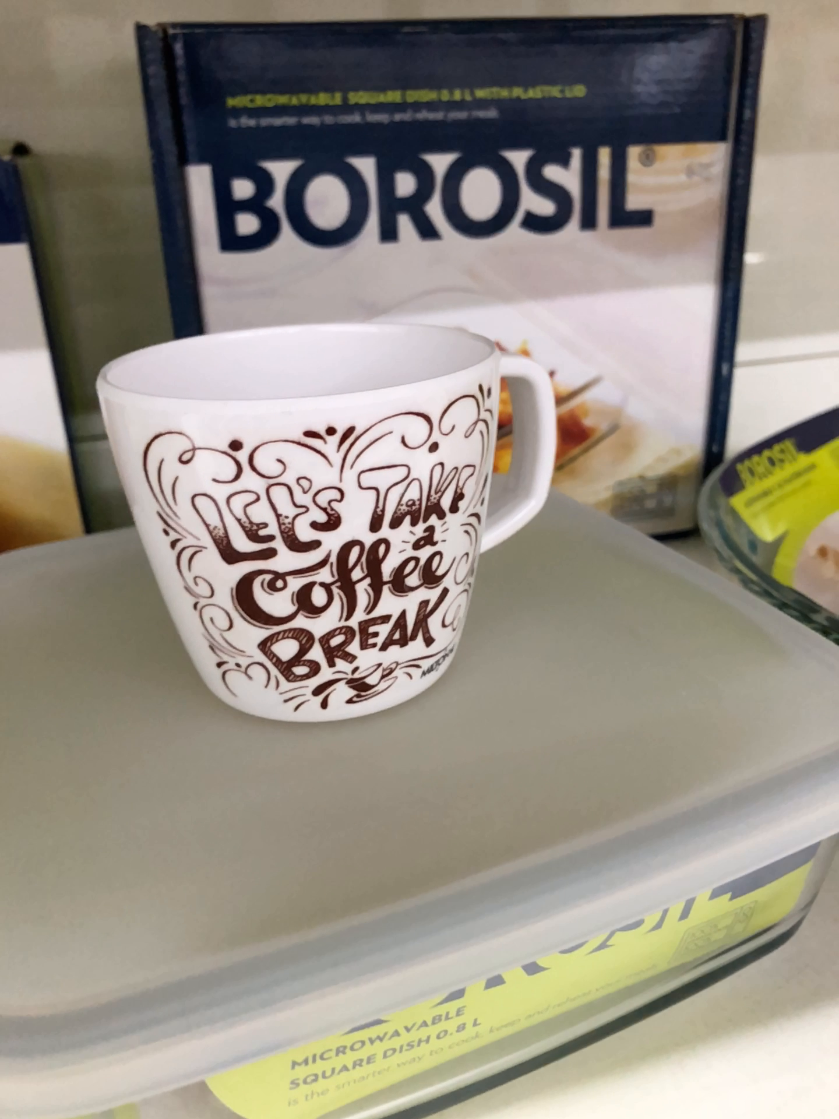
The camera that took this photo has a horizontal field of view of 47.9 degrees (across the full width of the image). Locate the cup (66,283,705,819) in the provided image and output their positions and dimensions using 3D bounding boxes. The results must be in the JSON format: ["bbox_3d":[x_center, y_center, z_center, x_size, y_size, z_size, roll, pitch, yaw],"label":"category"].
[{"bbox_3d":[-0.007,-0.012,0.192,0.100,0.070,0.070,-14,25,-26],"label":"cup"}]
